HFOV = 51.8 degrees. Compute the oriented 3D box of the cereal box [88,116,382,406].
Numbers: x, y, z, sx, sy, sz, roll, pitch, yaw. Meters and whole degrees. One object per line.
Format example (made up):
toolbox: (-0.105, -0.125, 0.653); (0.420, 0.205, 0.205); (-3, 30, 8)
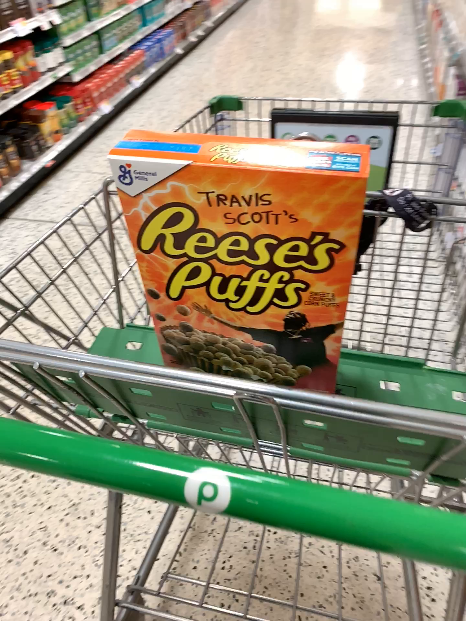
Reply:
cereal box: (0.008, -0.029, 0.450); (0.210, 0.277, 0.050); (8, 46, 13)
